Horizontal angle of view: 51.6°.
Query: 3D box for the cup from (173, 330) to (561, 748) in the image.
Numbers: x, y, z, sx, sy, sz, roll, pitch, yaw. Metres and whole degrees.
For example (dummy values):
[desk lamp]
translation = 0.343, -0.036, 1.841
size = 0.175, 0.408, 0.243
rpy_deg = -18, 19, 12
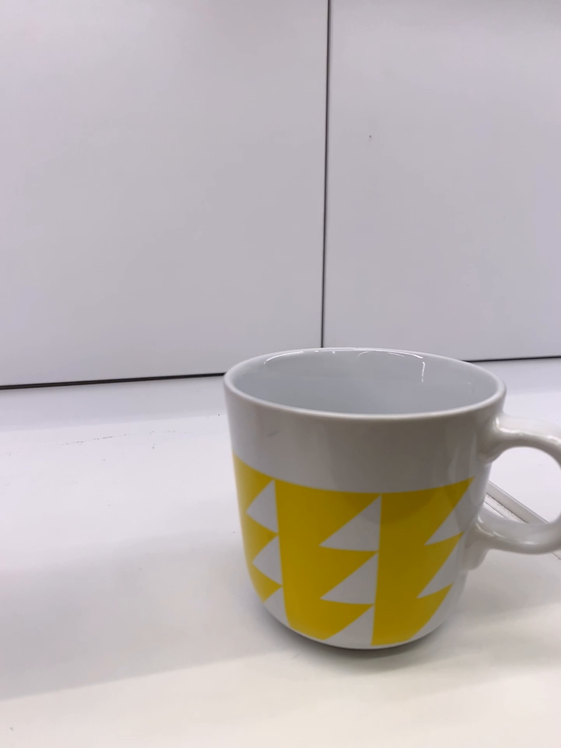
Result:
[cup]
translation = 0.039, 0.030, 0.169
size = 0.107, 0.065, 0.084
rpy_deg = 9, 16, 33
